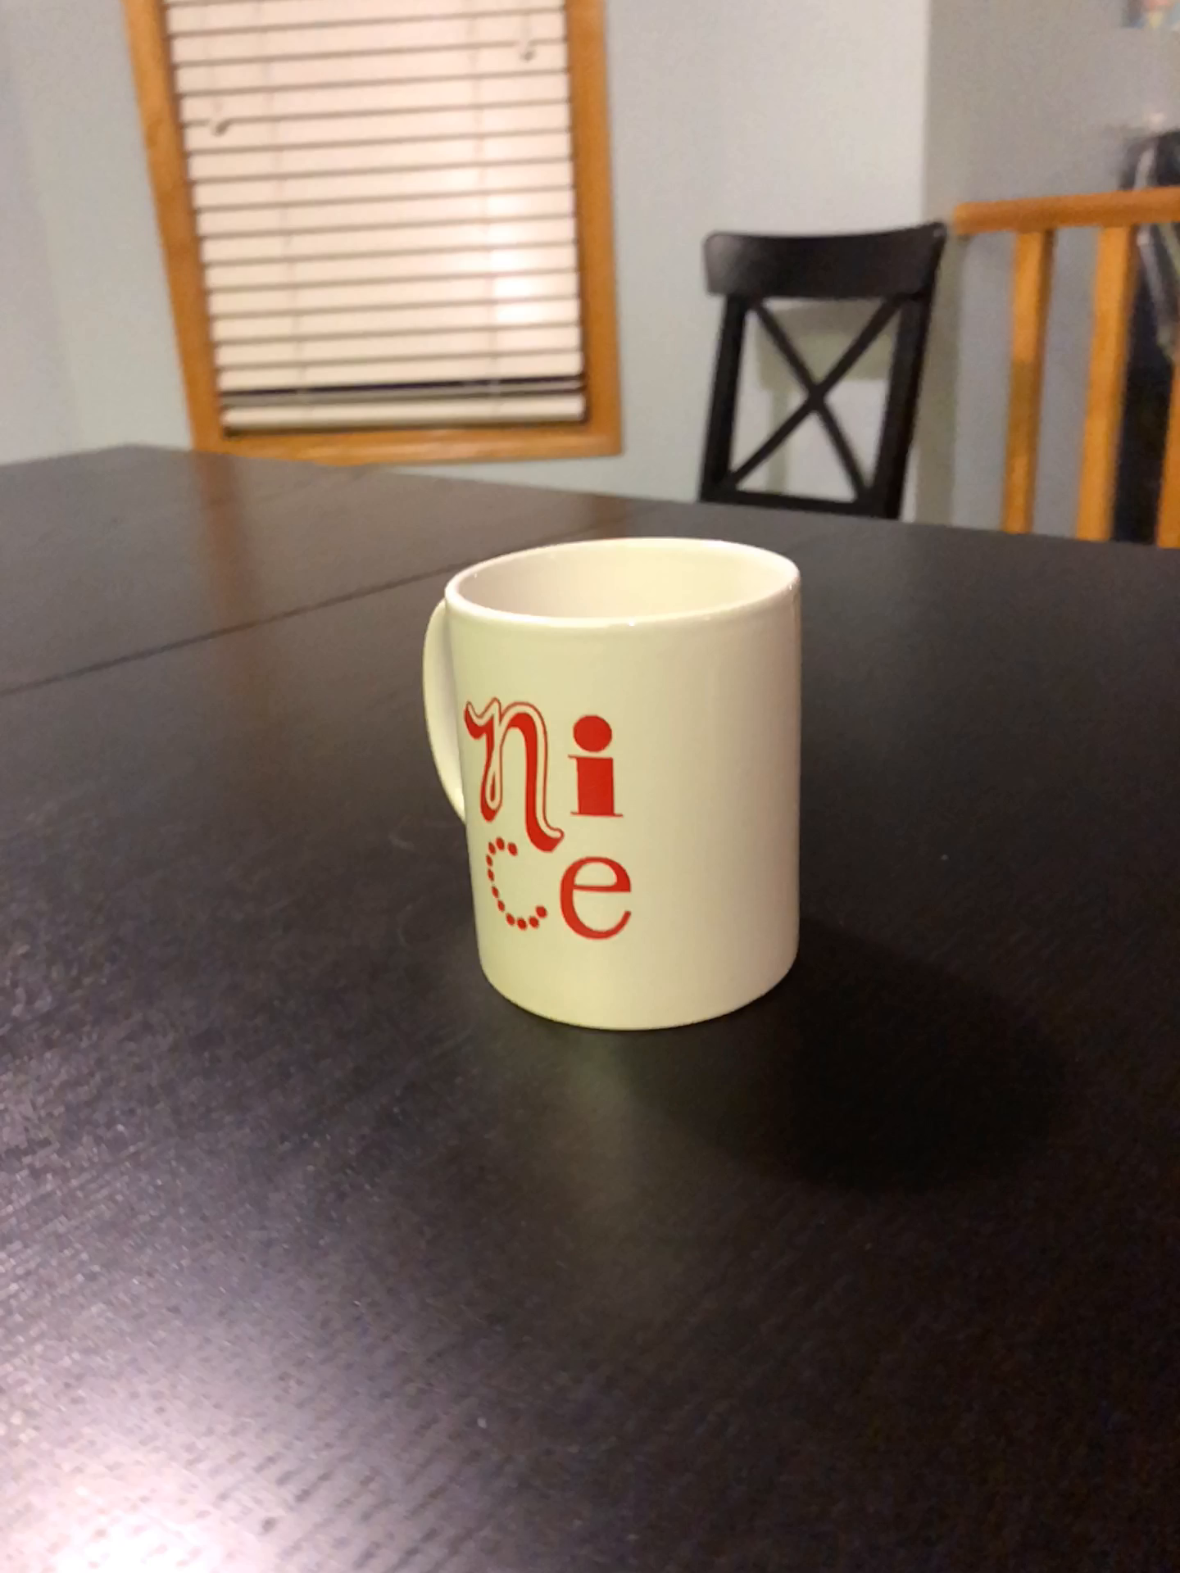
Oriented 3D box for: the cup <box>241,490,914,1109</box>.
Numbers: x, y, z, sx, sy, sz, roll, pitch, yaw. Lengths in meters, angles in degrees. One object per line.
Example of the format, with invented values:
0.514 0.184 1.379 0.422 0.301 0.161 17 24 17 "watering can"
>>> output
-0.003 -0.010 0.323 0.100 0.100 0.120 -22 28 -40 "cup"
